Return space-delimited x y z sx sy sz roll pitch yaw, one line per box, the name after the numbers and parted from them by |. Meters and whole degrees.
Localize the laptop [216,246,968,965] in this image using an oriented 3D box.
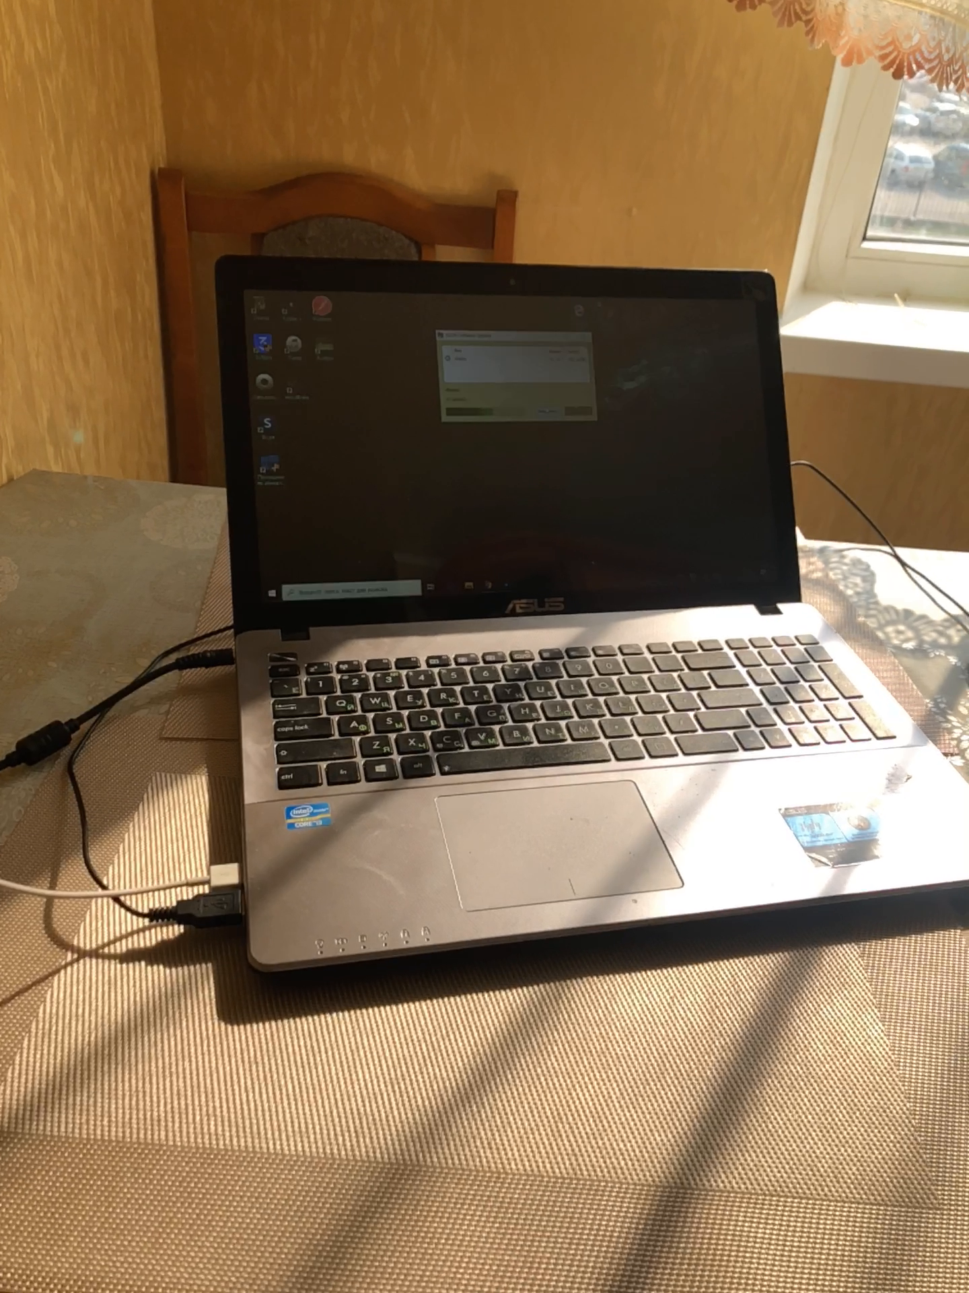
0.052 -0.069 0.593 0.378 0.183 0.399 -3 34 -13 | laptop
